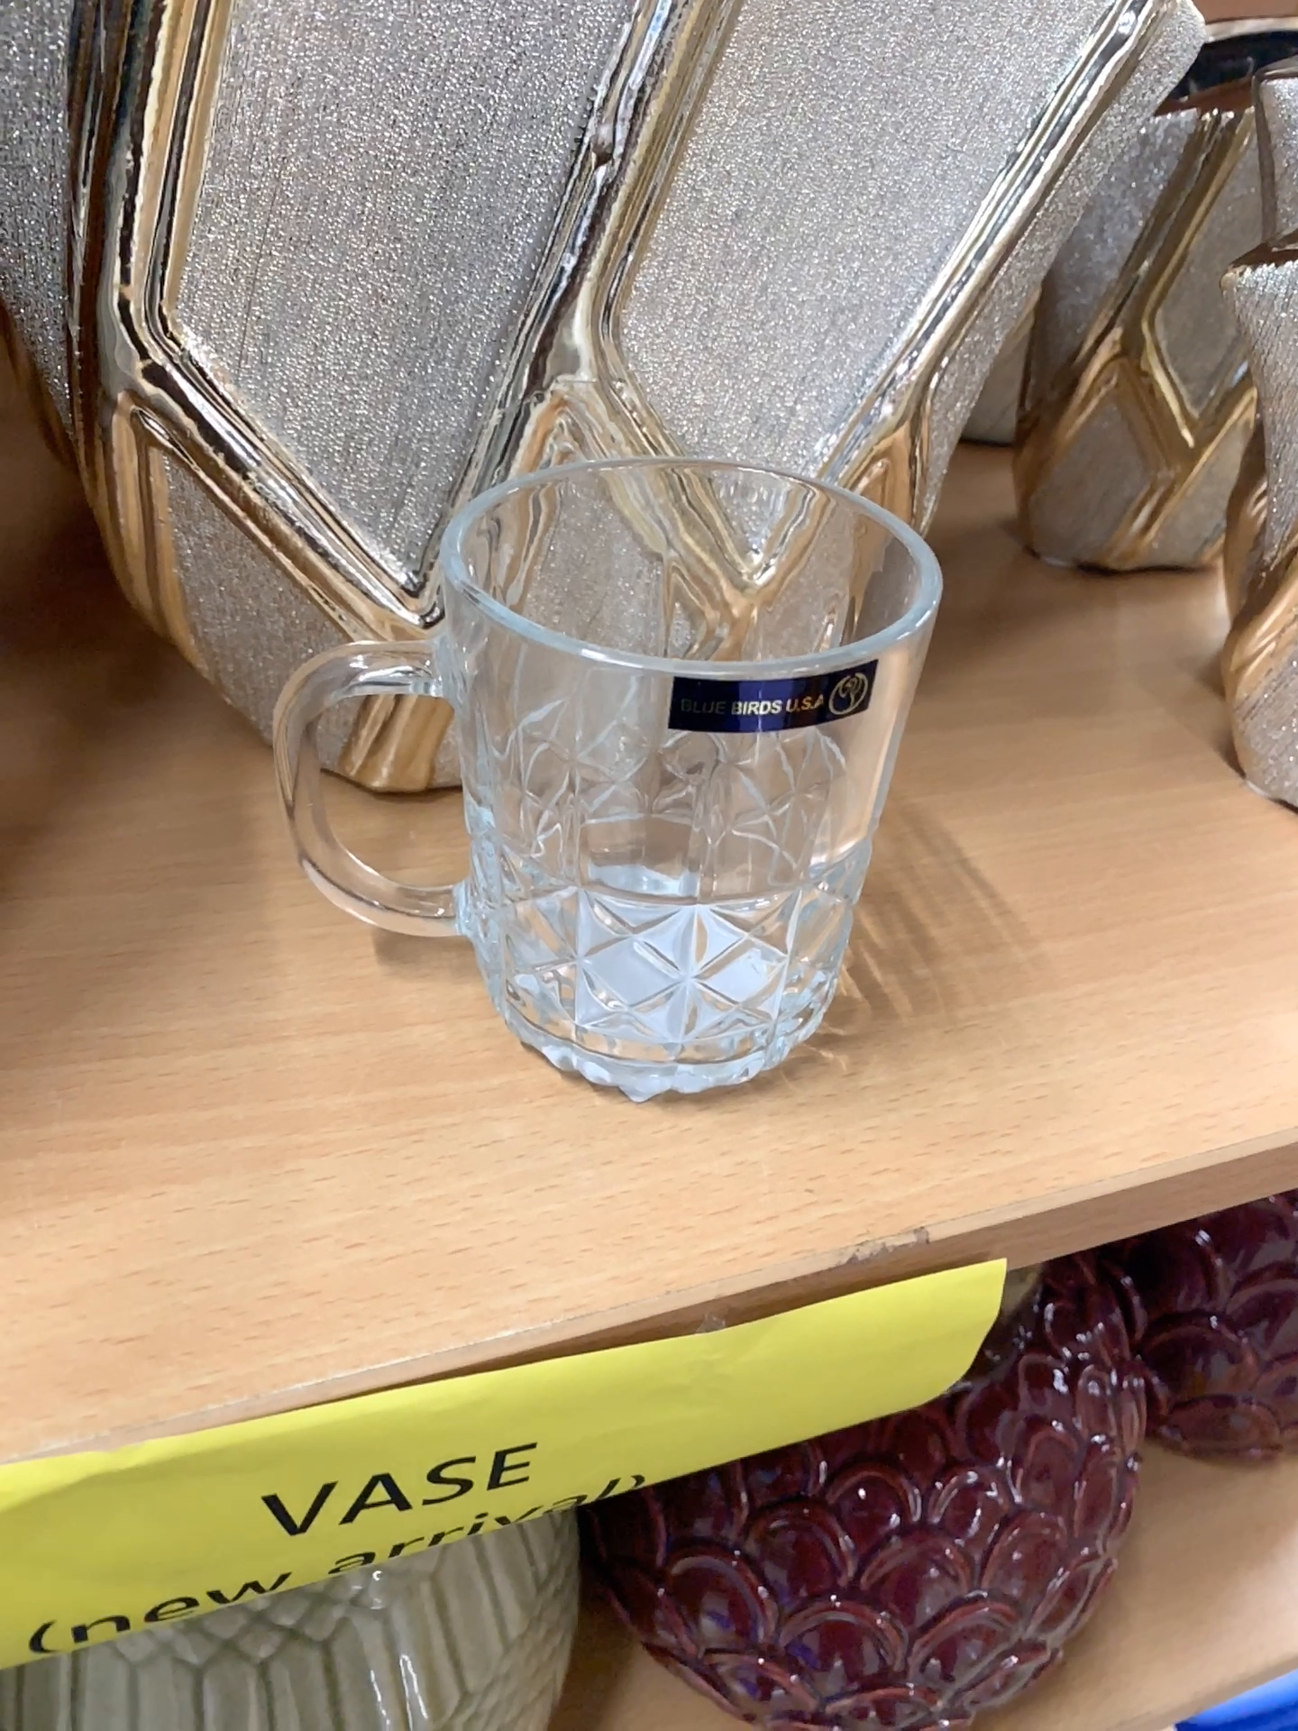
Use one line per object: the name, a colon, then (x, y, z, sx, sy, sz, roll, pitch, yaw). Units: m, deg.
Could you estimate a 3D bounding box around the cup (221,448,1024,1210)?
cup: (-0.011, -0.010, 0.219, 0.100, 0.090, 0.070, -6, 37, -15)
